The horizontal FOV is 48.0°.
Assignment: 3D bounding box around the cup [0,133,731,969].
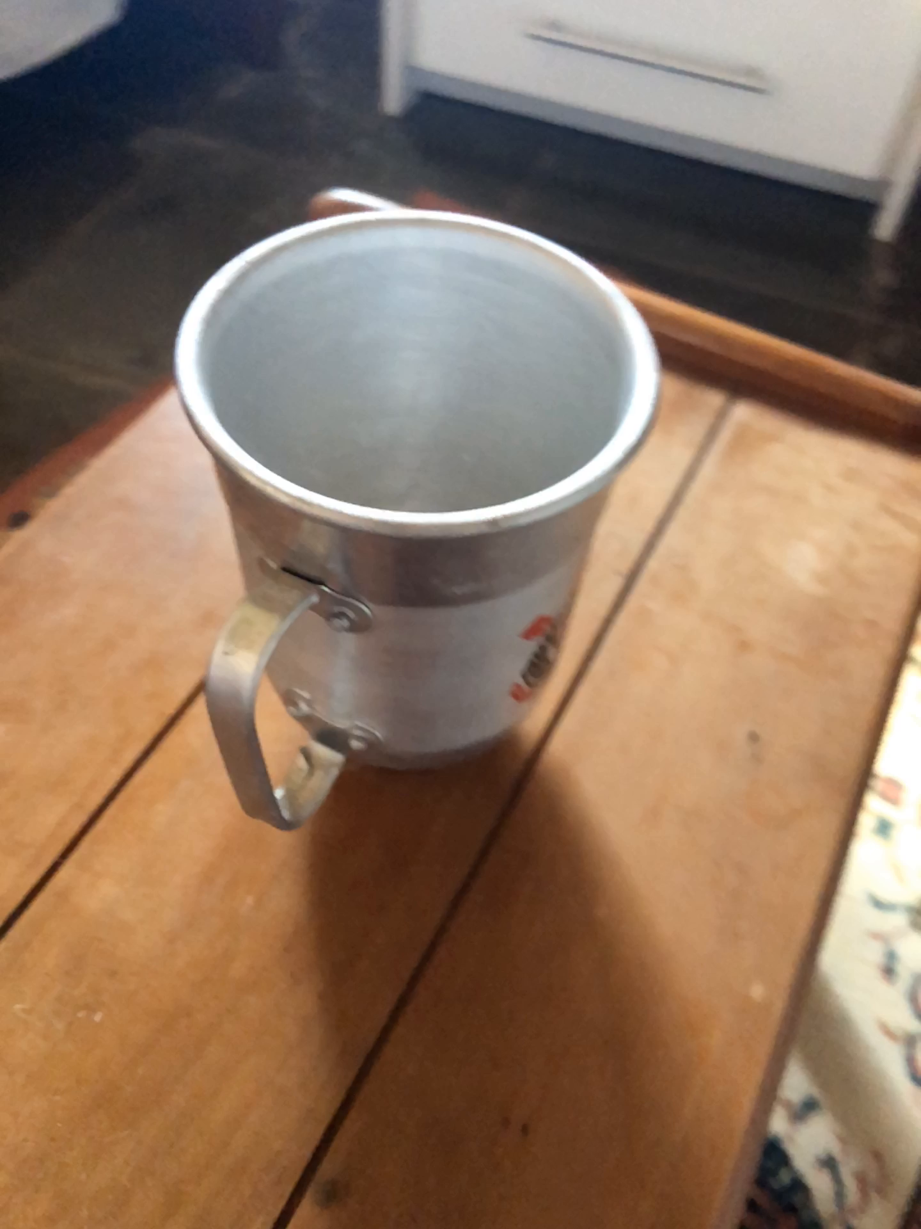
[{"bbox_3d":[-0.019,-0.013,0.251,0.100,0.129,0.121,26,55,15],"label":"cup"}]
